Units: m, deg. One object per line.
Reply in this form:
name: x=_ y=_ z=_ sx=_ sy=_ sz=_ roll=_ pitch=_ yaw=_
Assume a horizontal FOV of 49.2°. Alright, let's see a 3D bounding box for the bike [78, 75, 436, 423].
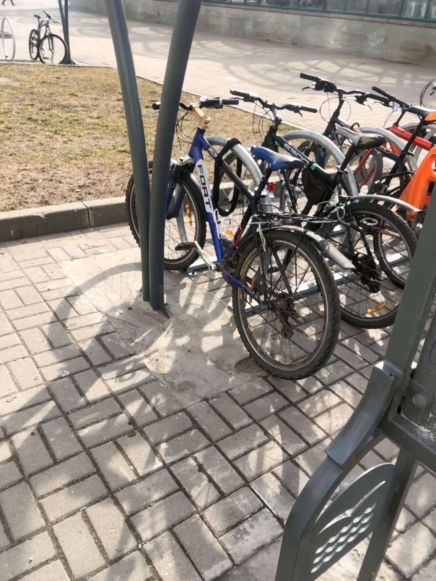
bike: x=0.022 y=-0.362 z=2.274 sx=0.627 sy=0.959 sz=1.665 roll=-18 pitch=39 yaw=-32
